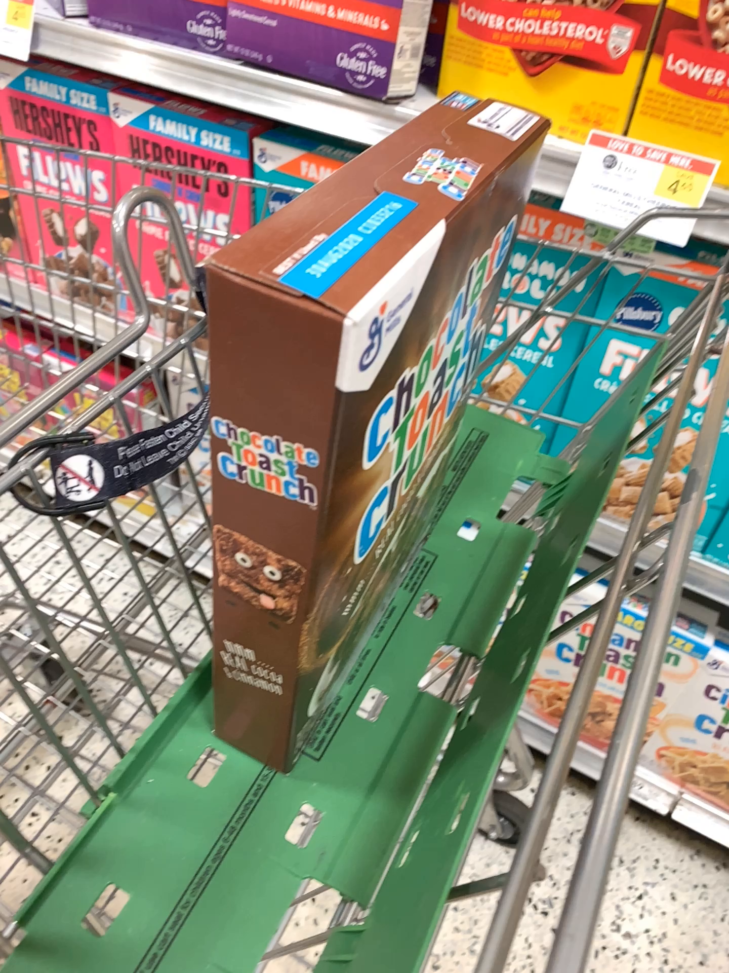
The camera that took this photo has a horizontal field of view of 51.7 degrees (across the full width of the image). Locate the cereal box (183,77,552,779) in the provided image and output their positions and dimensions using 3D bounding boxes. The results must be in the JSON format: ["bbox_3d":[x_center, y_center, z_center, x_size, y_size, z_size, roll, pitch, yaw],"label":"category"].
[{"bbox_3d":[-0.001,-0.017,0.363,0.050,0.277,0.202,23,46,13],"label":"cereal box"}]
